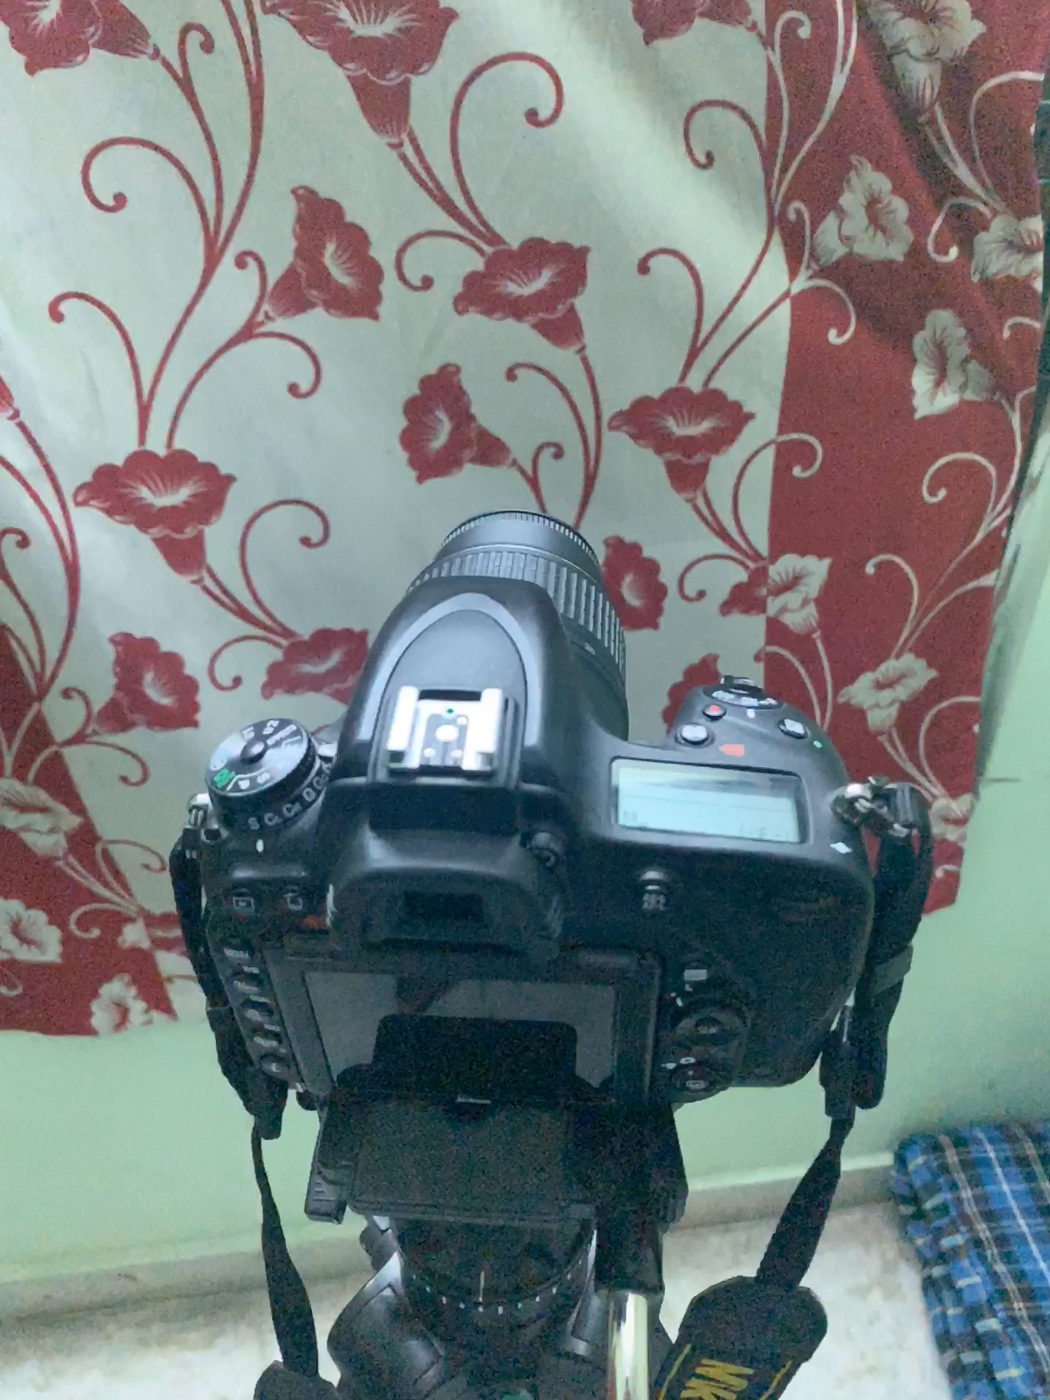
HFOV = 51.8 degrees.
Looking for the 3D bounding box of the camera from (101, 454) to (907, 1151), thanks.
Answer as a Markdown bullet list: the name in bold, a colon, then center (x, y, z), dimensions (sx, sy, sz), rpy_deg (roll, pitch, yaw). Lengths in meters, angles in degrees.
- **camera**: center (-0.001, 0.018, 0.271), dimensions (0.139, 0.112, 0.130), rpy_deg (2, 35, 3)
